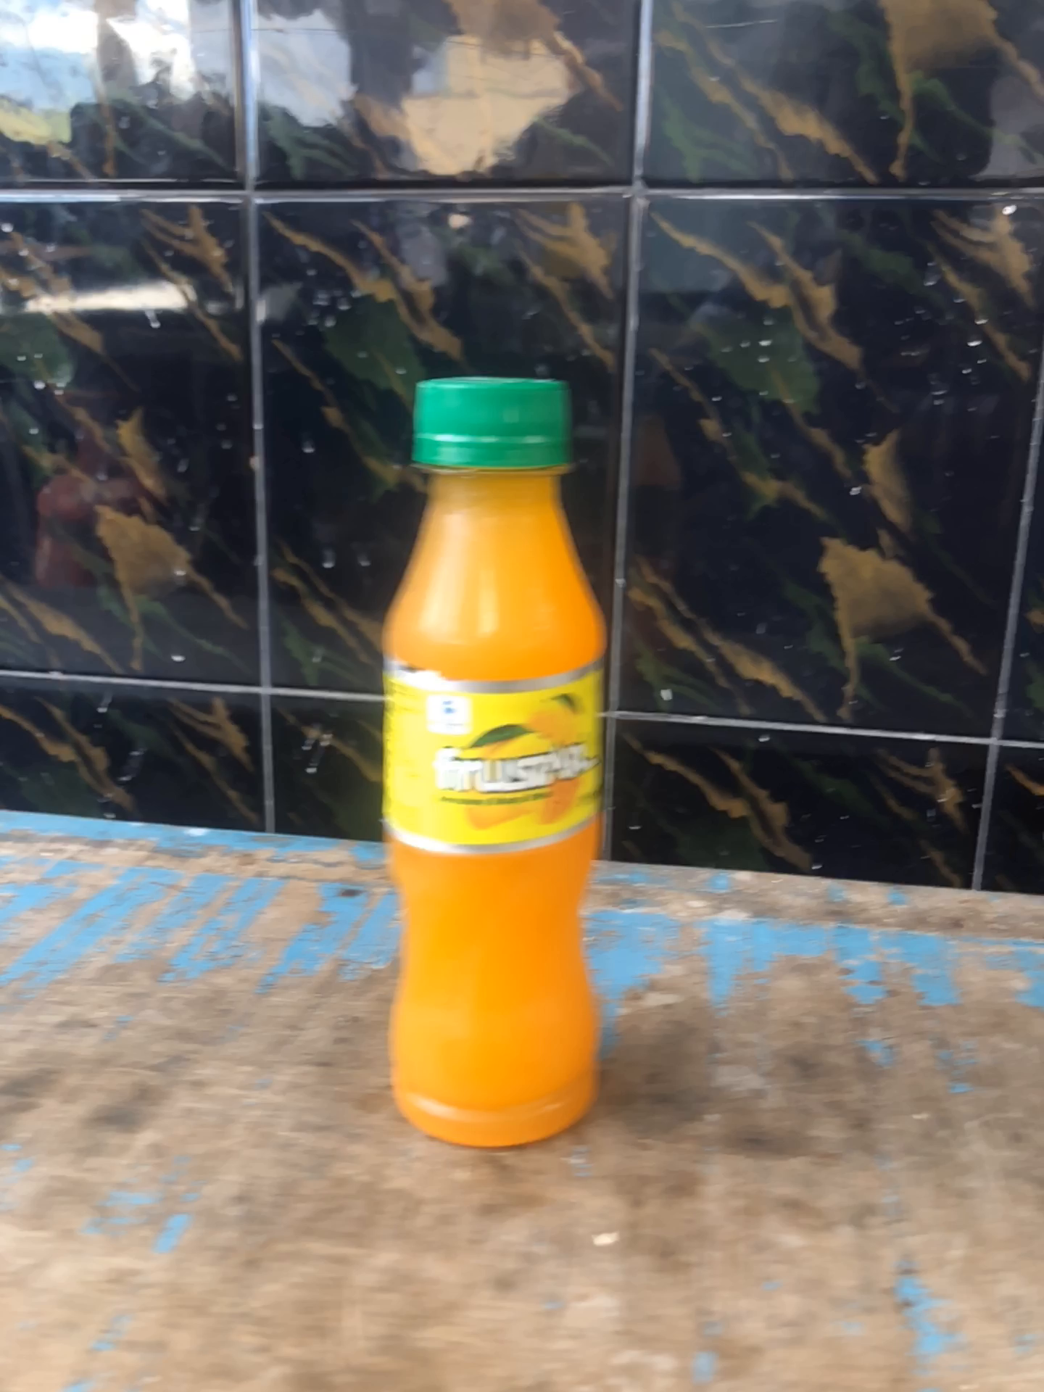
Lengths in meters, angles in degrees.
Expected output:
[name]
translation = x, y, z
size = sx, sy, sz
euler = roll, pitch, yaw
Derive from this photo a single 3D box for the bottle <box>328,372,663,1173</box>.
[bottle]
translation = -0.009, 0.015, 0.264
size = 0.060, 0.169, 0.050
euler = -3, 16, -14
